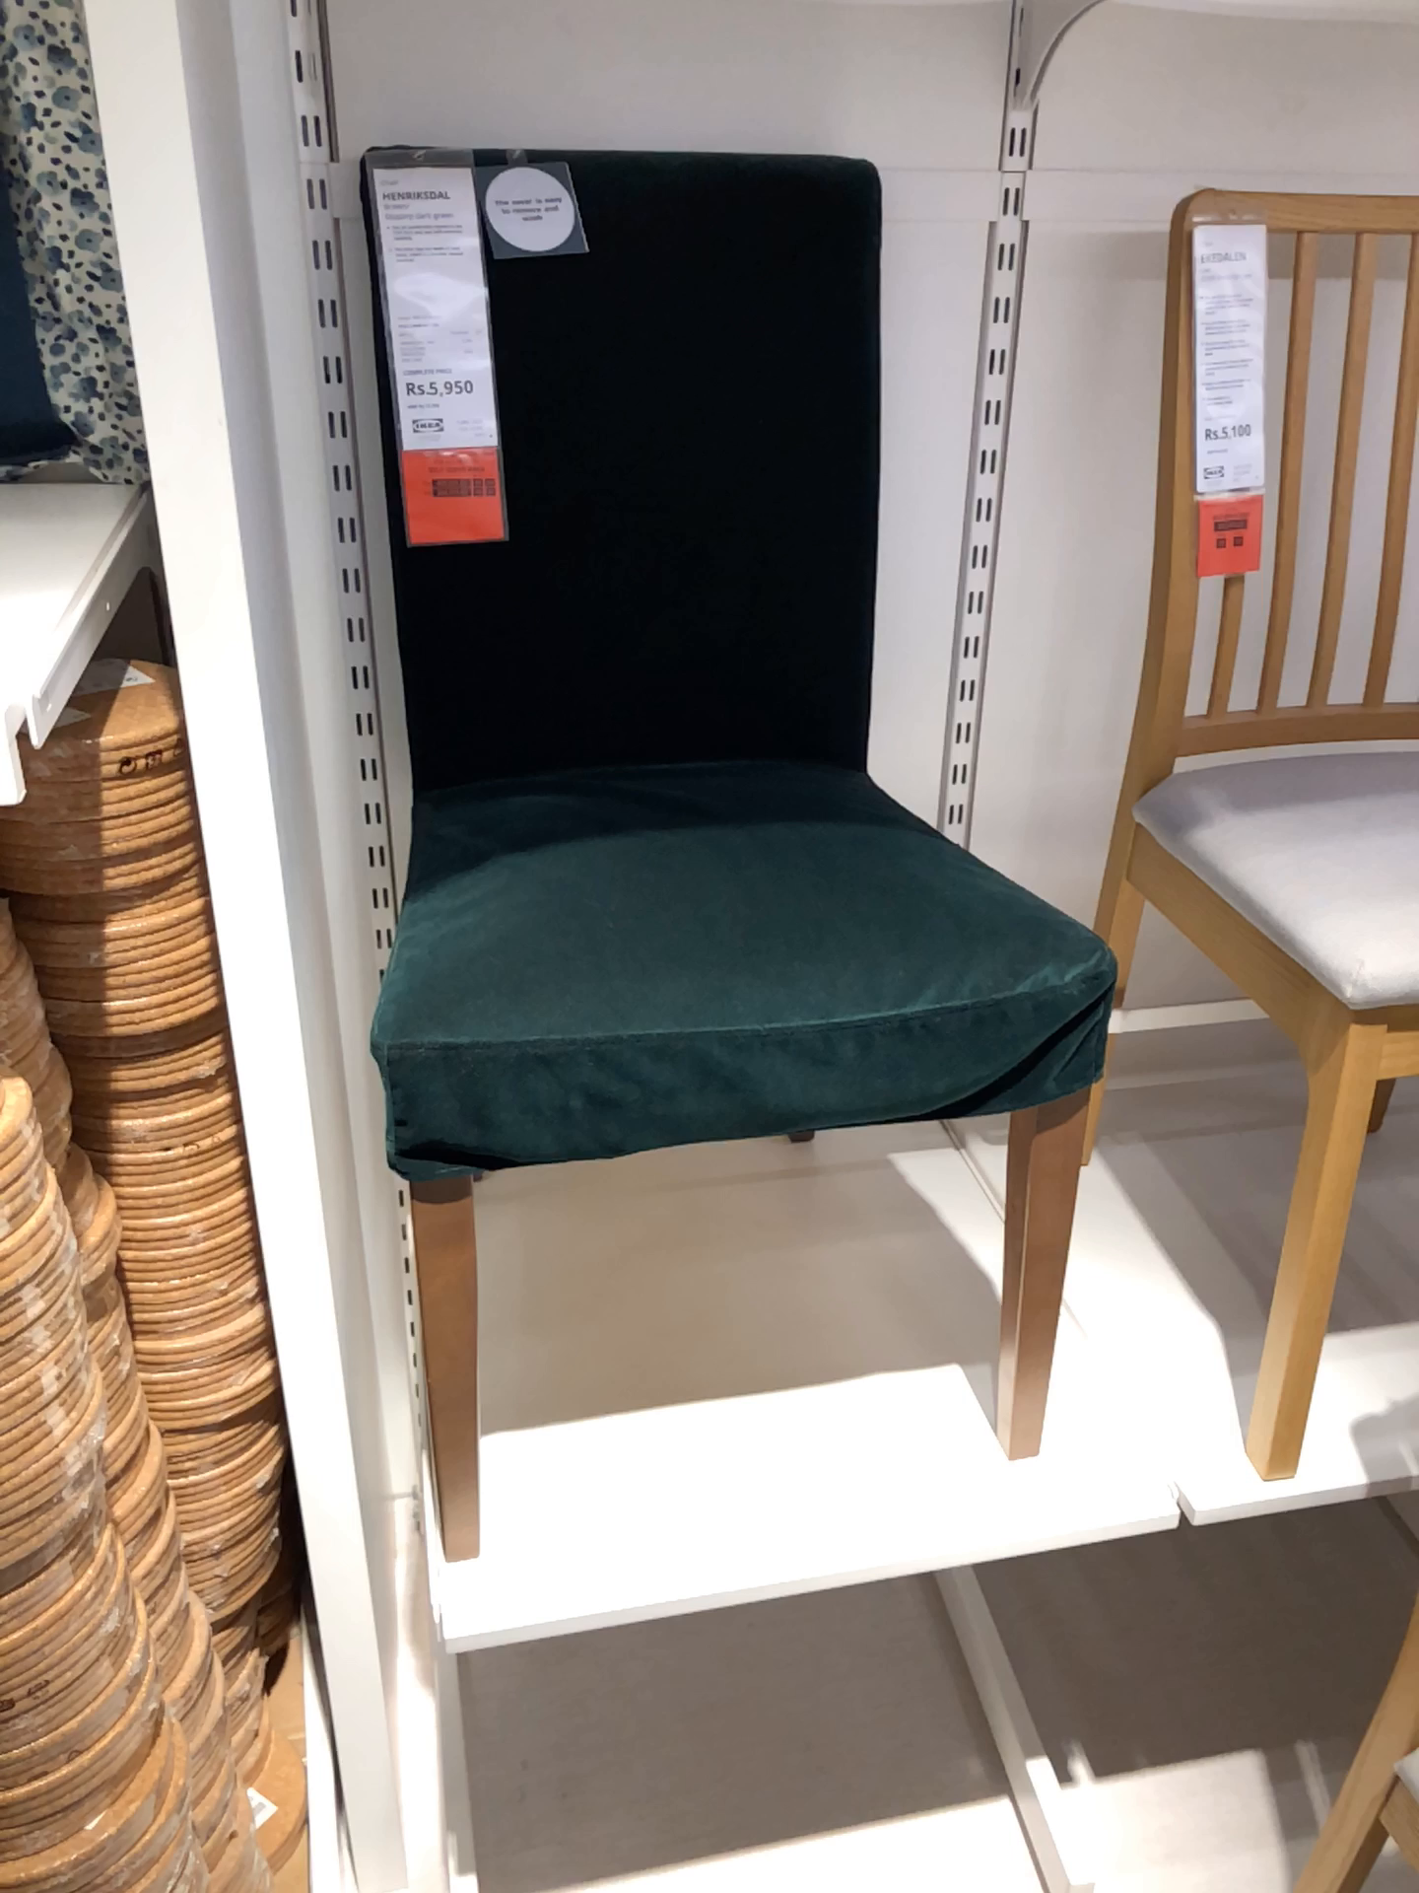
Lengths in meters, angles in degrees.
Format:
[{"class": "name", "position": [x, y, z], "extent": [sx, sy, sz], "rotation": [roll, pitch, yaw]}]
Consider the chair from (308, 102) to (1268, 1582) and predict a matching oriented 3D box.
[{"class": "chair", "position": [-0.009, -0.100, 1.168], "extent": [0.470, 0.914, 0.513], "rotation": [-6, 27, -13]}]
